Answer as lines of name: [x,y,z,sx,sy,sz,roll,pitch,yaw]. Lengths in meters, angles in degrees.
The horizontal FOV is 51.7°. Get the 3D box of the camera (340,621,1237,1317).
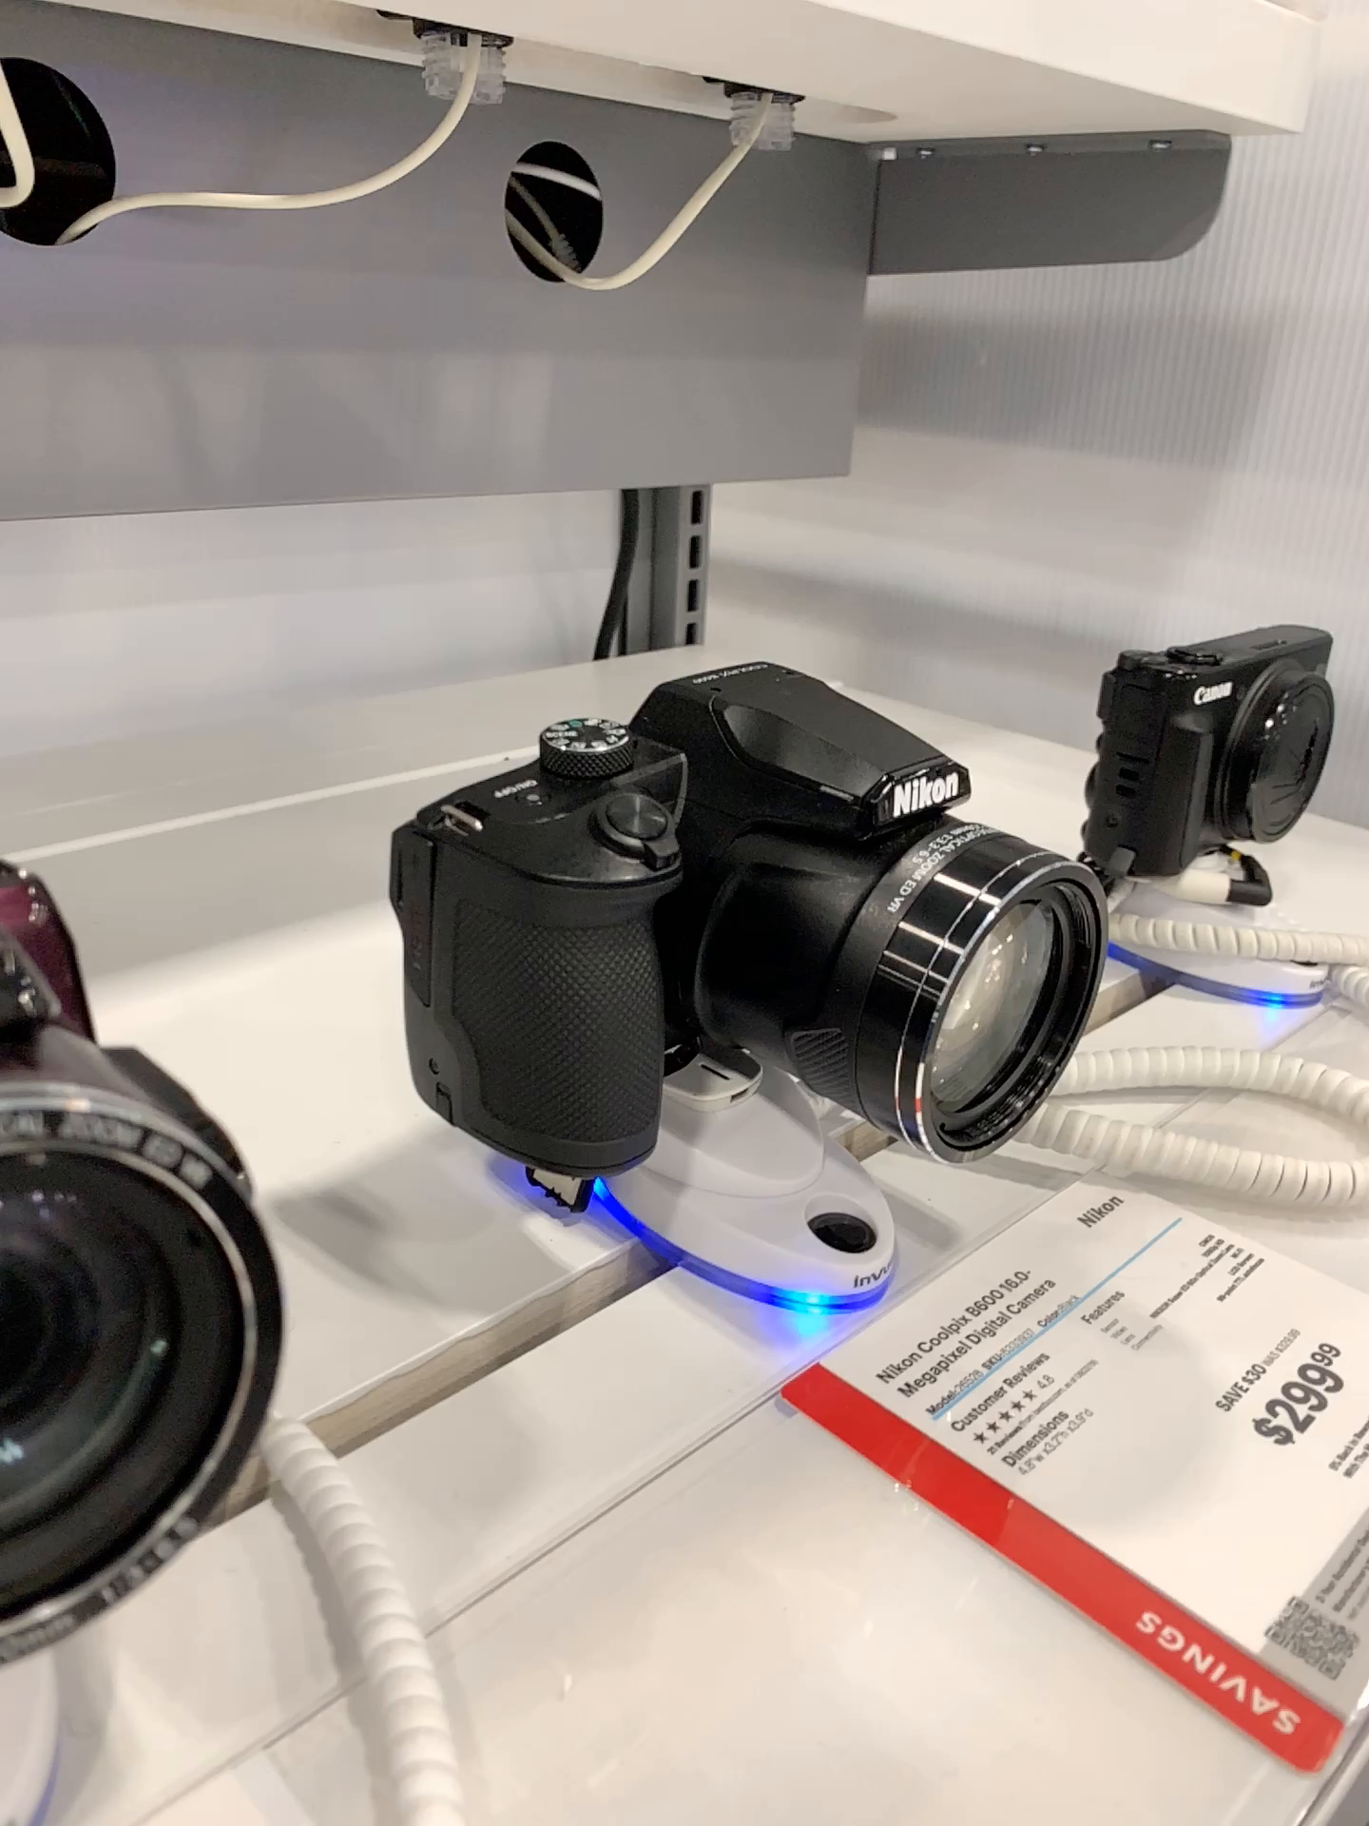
camera: [0.022,-0.005,0.276,0.110,0.070,0.130,21,29,37]
